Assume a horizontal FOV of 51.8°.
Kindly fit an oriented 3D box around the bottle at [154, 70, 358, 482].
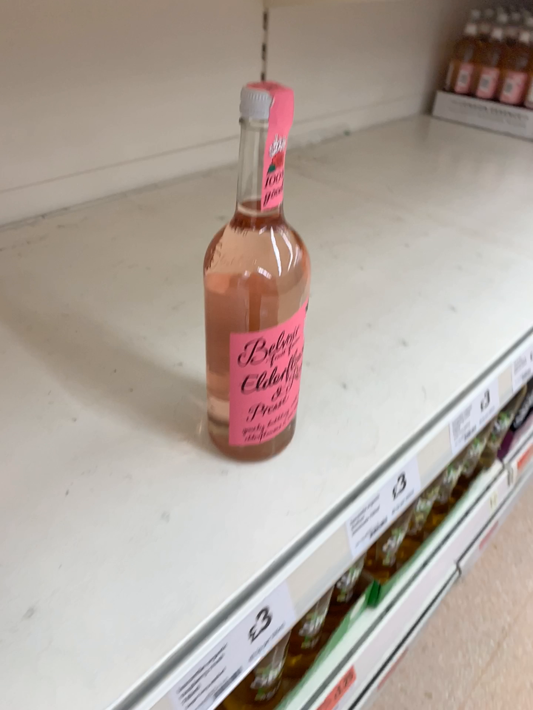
[{"bbox_3d":[-0.014,-0.045,0.401,0.087,0.274,0.087,2,36,-2],"label":"bottle"}]
